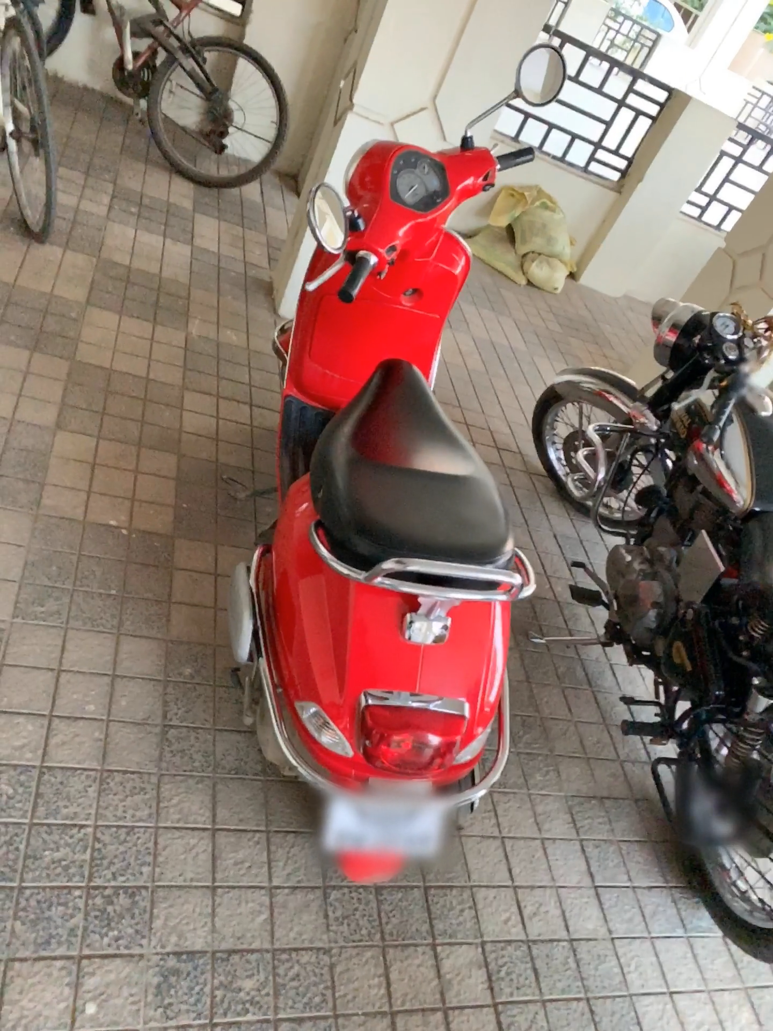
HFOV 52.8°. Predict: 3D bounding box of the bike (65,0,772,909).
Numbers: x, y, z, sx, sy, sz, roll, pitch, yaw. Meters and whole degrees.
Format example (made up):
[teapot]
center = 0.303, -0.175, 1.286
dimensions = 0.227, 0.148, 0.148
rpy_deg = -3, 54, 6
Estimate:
[bike]
center = -0.228, -0.205, 1.739
dimensions = 0.683, 1.261, 1.550
rpy_deg = 9, 42, -25
